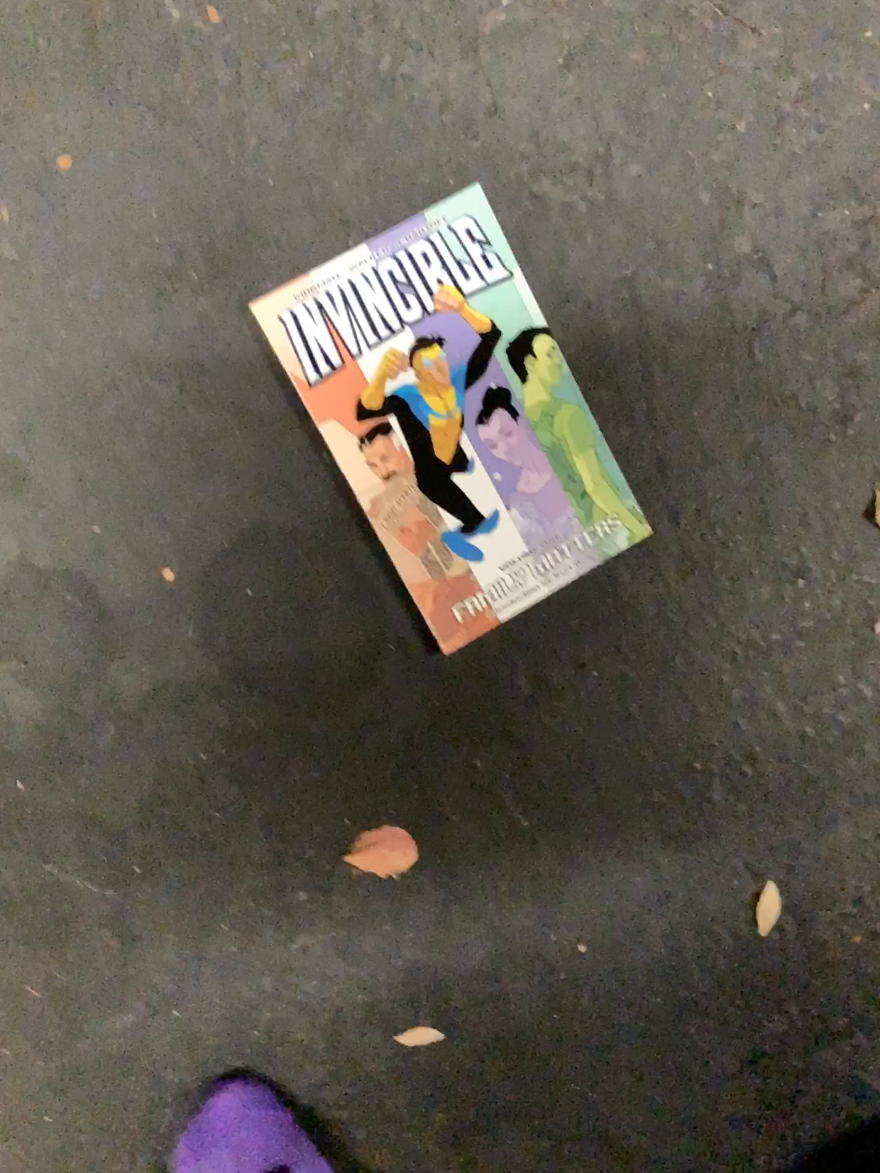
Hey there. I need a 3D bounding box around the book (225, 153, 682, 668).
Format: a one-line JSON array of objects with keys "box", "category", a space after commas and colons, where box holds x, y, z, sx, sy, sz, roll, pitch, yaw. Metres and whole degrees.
[{"box": [0.013, -0.110, 0.627, 0.180, 0.020, 0.270, -32, 97, -7], "category": "book"}]
